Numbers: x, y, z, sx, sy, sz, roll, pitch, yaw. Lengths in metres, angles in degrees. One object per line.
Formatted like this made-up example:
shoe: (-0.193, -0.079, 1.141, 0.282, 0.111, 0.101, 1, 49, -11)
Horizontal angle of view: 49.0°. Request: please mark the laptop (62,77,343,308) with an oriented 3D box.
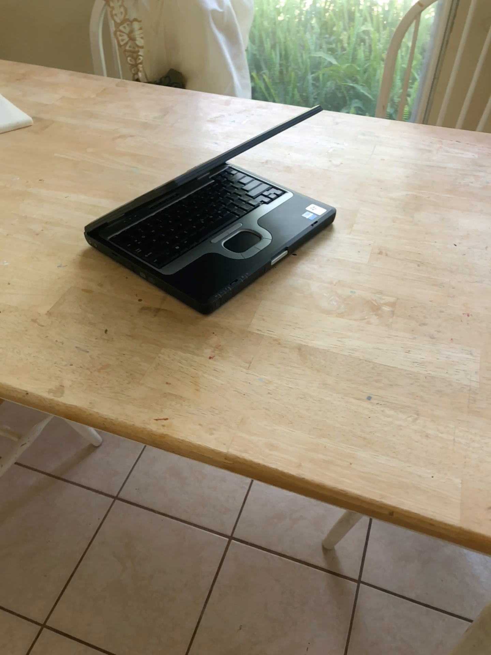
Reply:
laptop: (-0.056, -0.223, 0.811, 0.256, 0.162, 0.306, 30, 52, 29)
